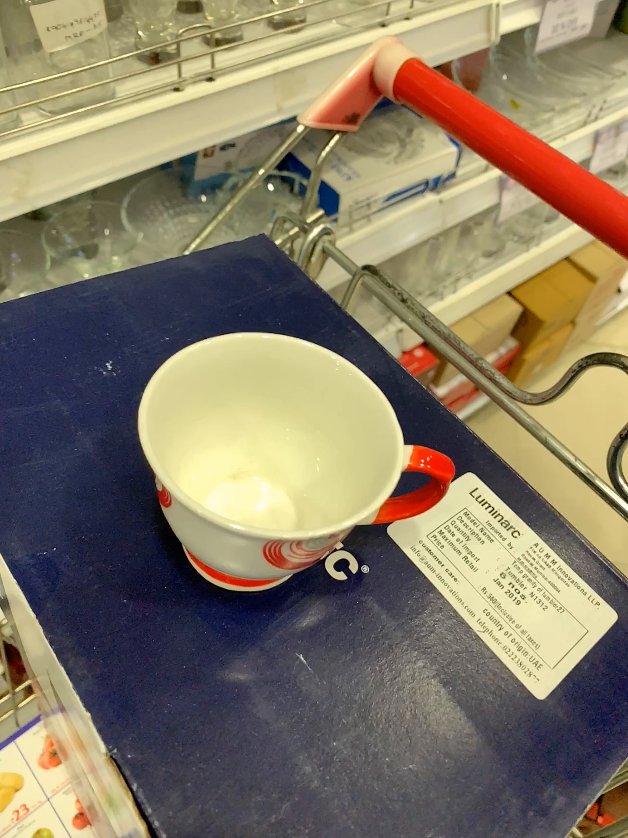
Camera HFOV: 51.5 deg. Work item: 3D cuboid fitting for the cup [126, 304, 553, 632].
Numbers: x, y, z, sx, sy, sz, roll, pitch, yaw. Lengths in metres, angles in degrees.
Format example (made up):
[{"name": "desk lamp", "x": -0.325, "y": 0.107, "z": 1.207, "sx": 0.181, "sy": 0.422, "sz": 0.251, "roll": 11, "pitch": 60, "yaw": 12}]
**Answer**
[{"name": "cup", "x": -0.001, "y": 0.012, "z": 0.185, "sx": 0.100, "sy": 0.050, "sz": 0.070, "roll": -1, "pitch": 55, "yaw": -16}]
